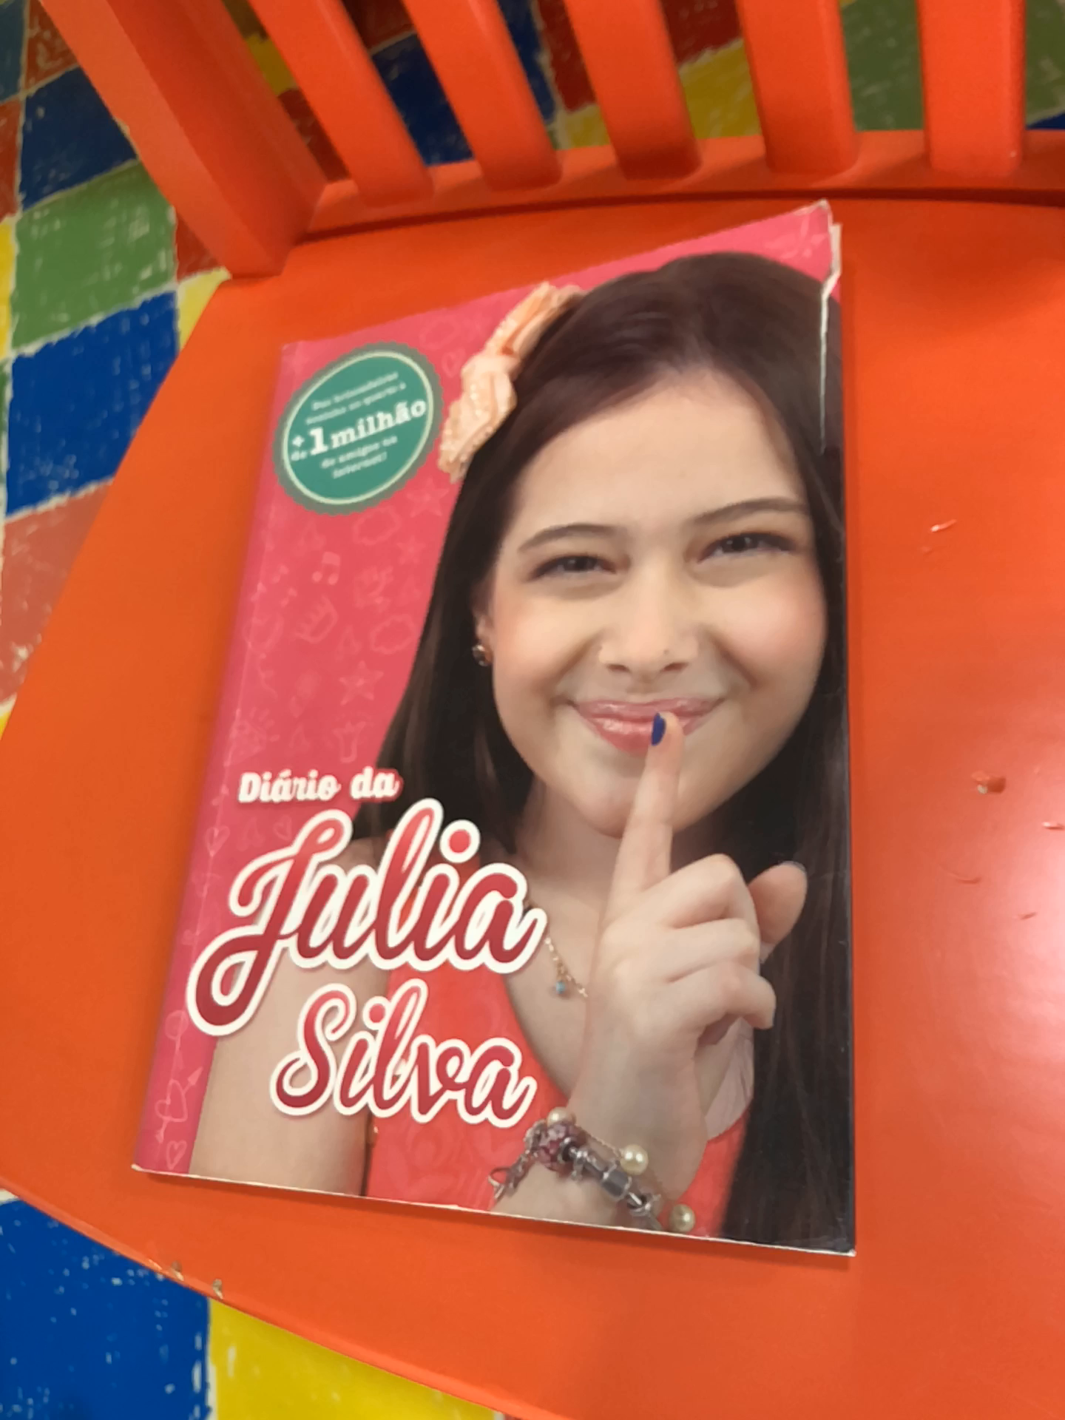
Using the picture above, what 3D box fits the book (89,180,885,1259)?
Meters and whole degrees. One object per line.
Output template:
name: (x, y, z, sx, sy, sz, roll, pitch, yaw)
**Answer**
book: (-0.006, -0.010, 0.289, 0.171, 0.020, 0.241, -2, 68, 21)
